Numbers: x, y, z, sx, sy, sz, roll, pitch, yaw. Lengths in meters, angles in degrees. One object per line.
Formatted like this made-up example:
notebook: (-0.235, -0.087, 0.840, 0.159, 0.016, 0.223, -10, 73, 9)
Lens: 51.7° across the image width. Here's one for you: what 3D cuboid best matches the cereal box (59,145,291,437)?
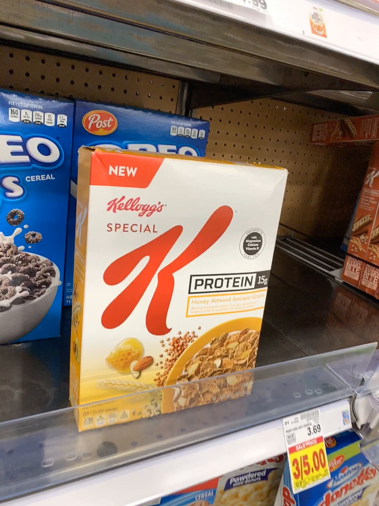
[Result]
cereal box: (-0.016, 0.036, 0.376, 0.200, 0.249, 0.040, -1, 17, -26)
